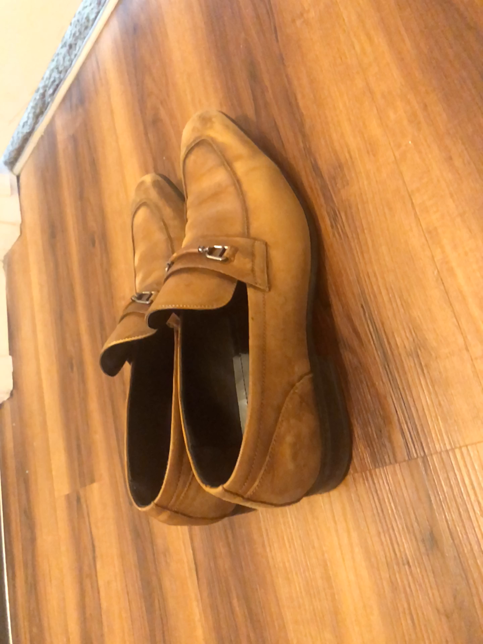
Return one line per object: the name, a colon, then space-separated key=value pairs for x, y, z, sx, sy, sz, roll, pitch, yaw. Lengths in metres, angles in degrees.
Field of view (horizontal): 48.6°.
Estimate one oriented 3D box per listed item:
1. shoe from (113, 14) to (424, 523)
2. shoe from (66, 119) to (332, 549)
shoe: x=0.005 y=-0.036 z=0.375 sx=0.107 sy=0.111 sz=0.308 roll=-31 pitch=65 yaw=45
shoe: x=-0.048 y=0.004 z=0.437 sx=0.107 sy=0.111 sz=0.308 roll=-37 pitch=61 yaw=43
